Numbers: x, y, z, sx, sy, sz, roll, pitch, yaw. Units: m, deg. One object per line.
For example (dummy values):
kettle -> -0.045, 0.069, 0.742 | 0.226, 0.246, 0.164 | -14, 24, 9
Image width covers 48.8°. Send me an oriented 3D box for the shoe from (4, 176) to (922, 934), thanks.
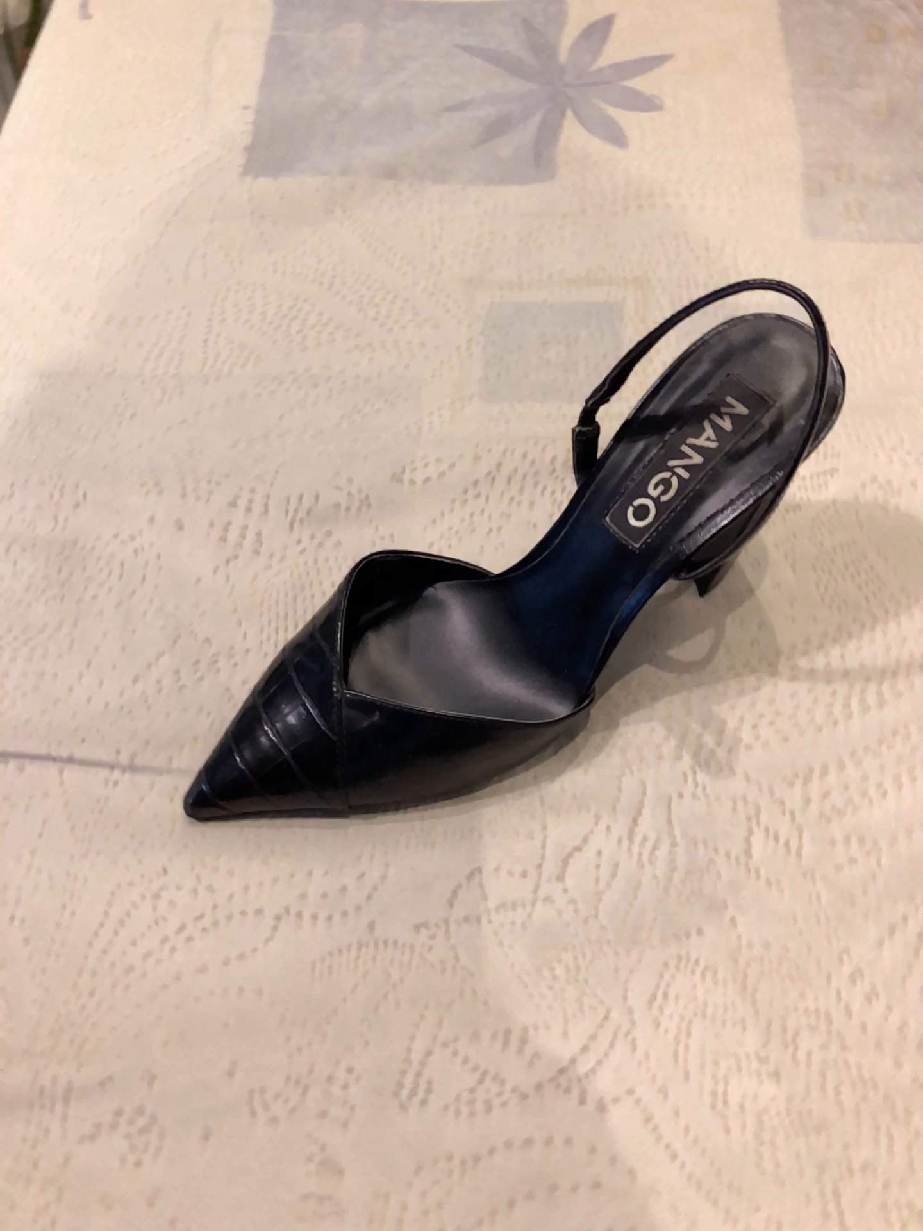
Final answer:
shoe -> 0.010, -0.017, 0.330 | 0.240, 0.129, 0.100 | -28, 66, -15
